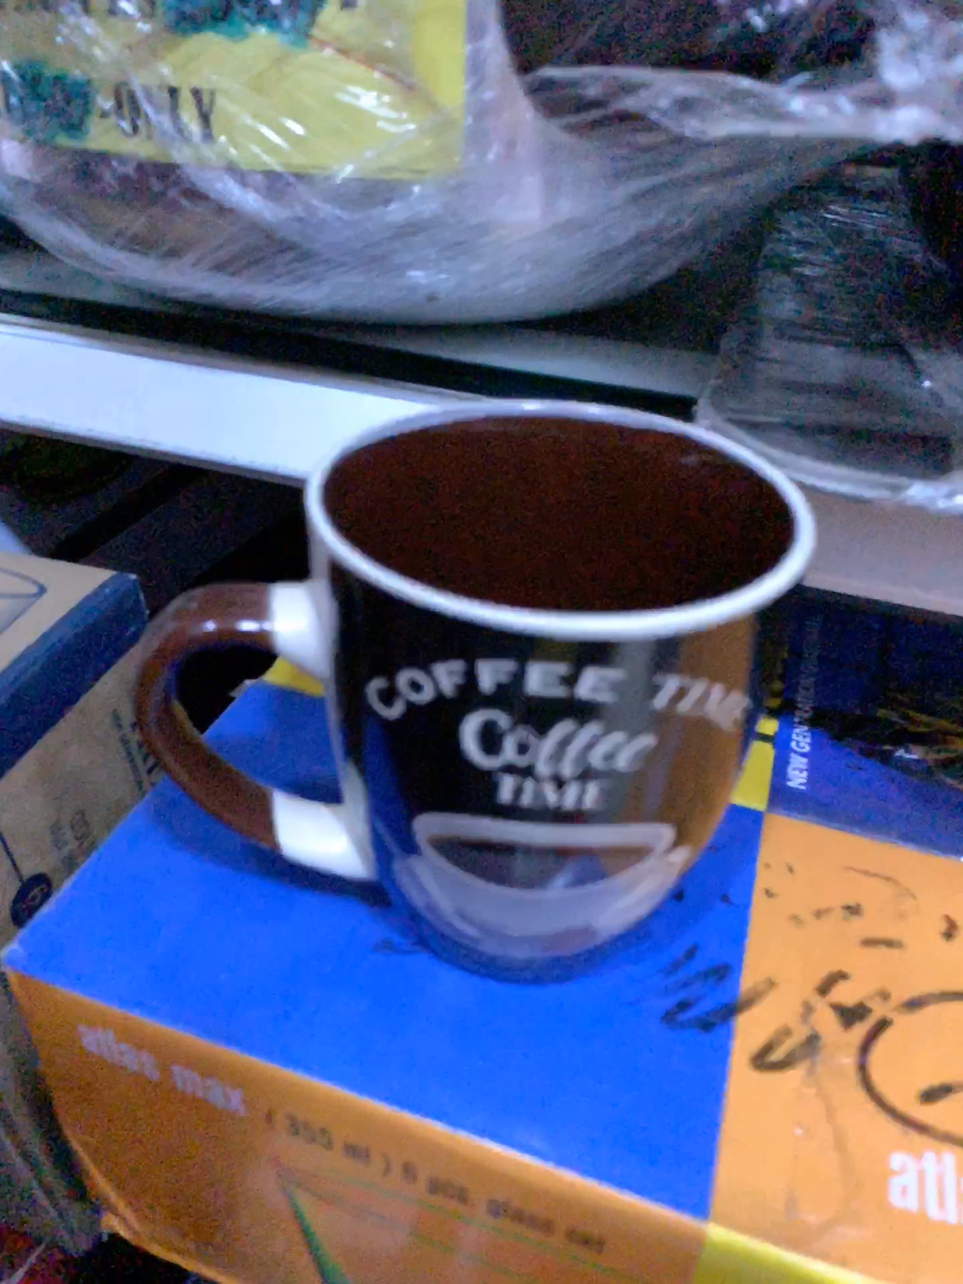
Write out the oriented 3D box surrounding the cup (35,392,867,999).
[{"bbox_3d":[-0.004,0.008,0.183,0.110,0.079,0.071,3,34,1],"label":"cup"}]
